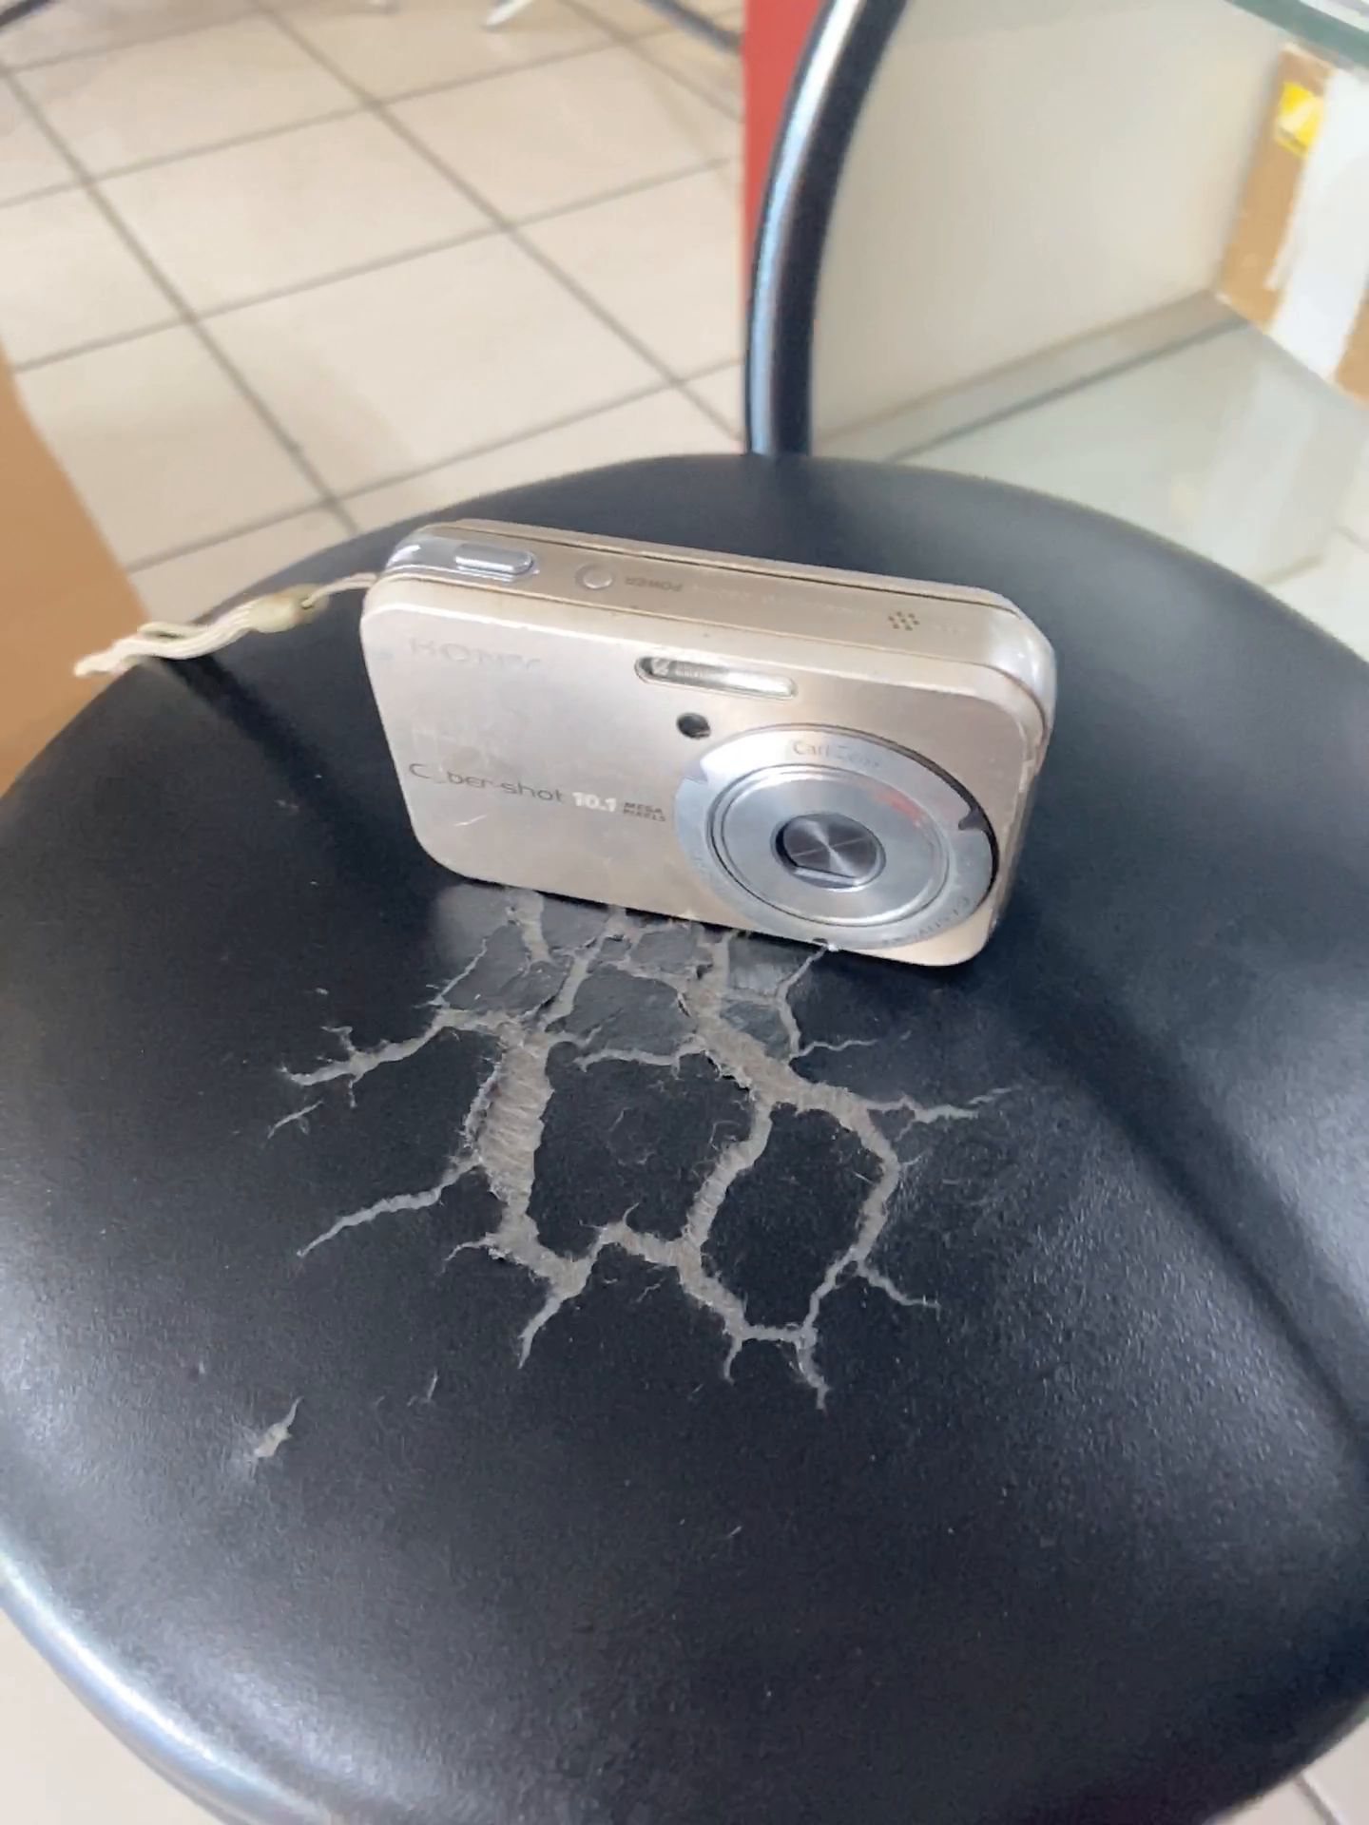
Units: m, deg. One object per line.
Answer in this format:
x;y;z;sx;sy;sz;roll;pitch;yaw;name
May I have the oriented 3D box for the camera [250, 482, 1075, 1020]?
-0.003;-0.024;0.221;0.110;0.060;0.030;12;53;10;camera
